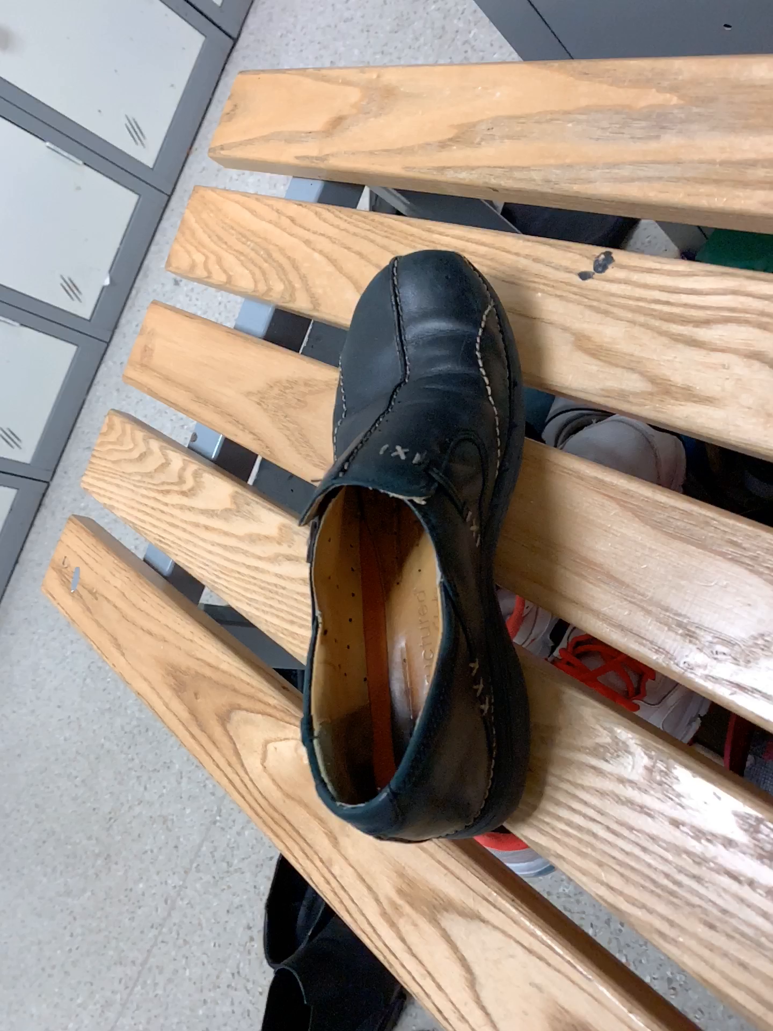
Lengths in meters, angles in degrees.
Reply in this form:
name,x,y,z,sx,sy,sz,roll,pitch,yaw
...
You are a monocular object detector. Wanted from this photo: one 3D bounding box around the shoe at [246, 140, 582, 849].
name,x,y,z,sx,sy,sz,roll,pitch,yaw
shoe,0.003,-0.007,0.341,0.104,0.075,0.268,-17,68,37
